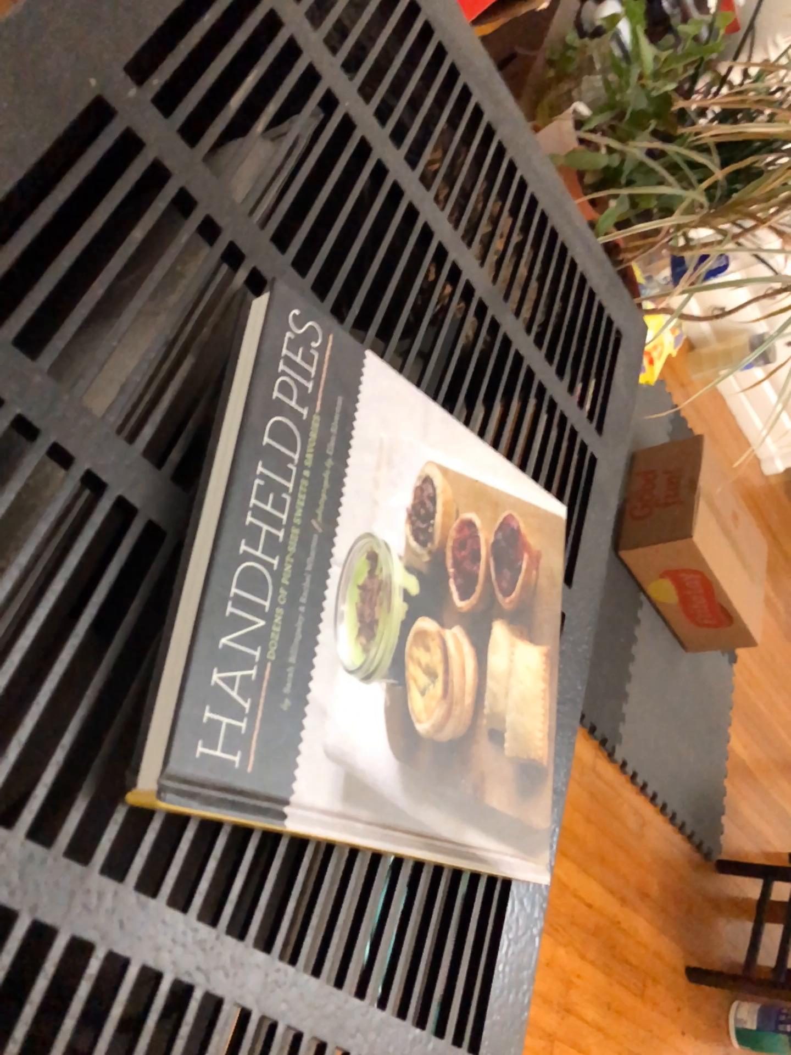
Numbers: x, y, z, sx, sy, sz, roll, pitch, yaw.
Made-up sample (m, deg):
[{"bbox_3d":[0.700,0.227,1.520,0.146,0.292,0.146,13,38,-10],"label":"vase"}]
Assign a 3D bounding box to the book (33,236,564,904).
[{"bbox_3d":[-0.006,0.033,0.352,0.231,0.020,0.200,30,58,-42],"label":"book"}]
